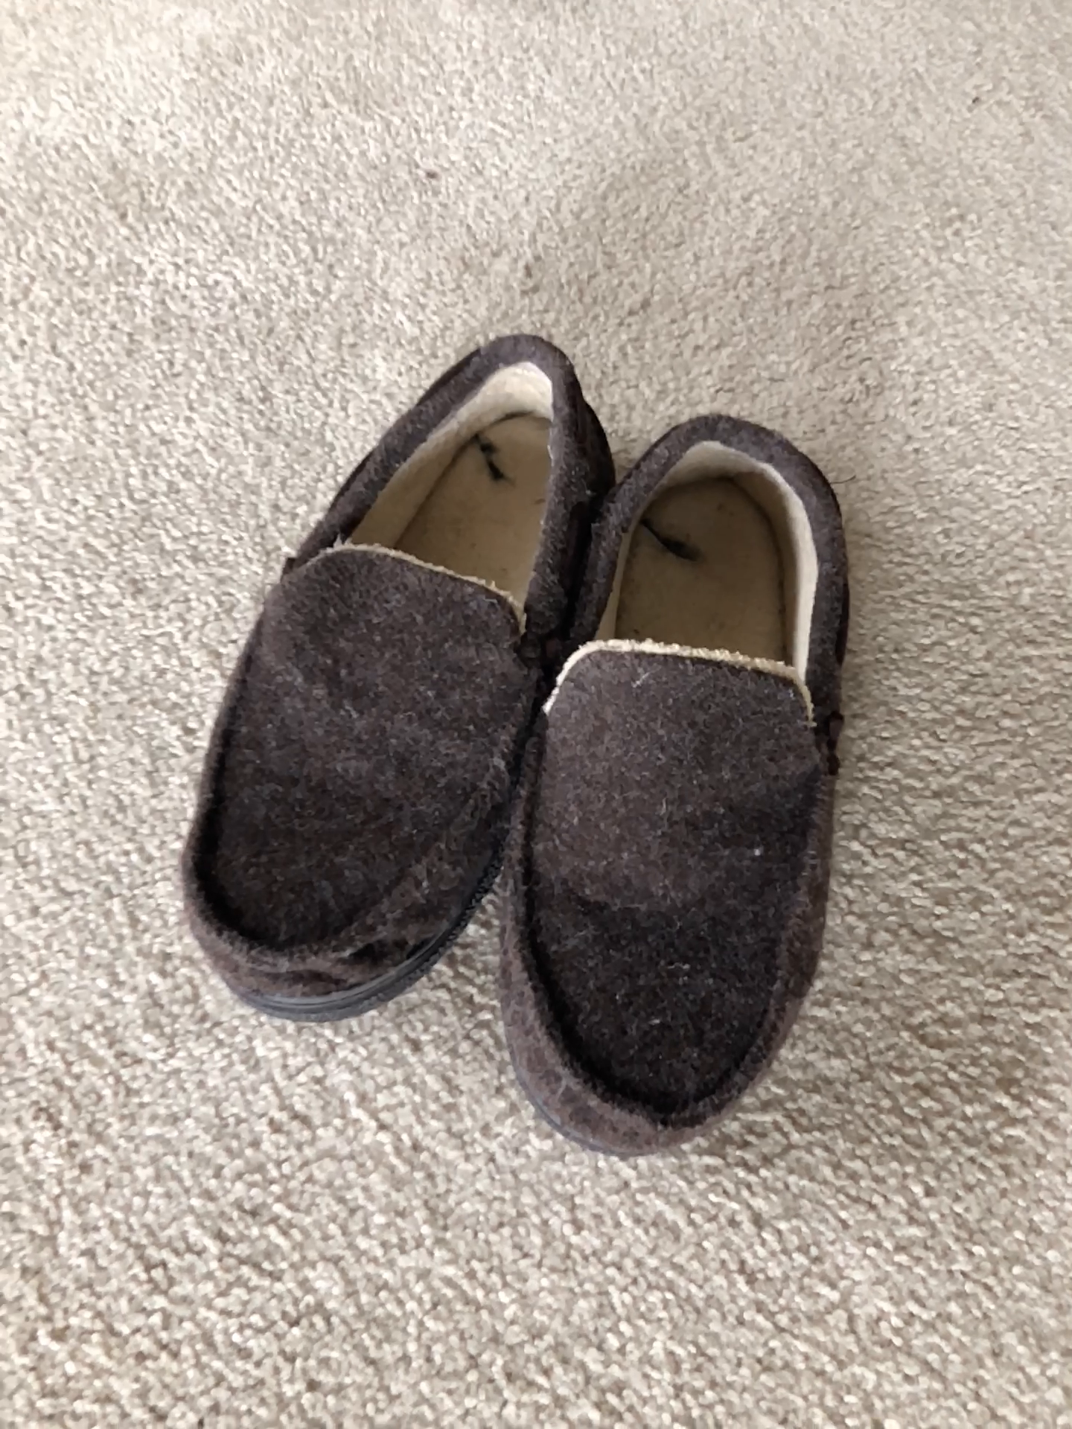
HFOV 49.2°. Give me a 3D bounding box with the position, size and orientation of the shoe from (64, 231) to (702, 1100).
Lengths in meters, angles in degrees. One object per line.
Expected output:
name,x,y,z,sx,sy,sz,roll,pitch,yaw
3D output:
shoe,-0.037,-0.034,0.457,0.120,0.096,0.318,15,62,9

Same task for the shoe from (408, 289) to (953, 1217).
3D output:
shoe,0.064,-0.001,0.434,0.119,0.096,0.317,13,62,8
